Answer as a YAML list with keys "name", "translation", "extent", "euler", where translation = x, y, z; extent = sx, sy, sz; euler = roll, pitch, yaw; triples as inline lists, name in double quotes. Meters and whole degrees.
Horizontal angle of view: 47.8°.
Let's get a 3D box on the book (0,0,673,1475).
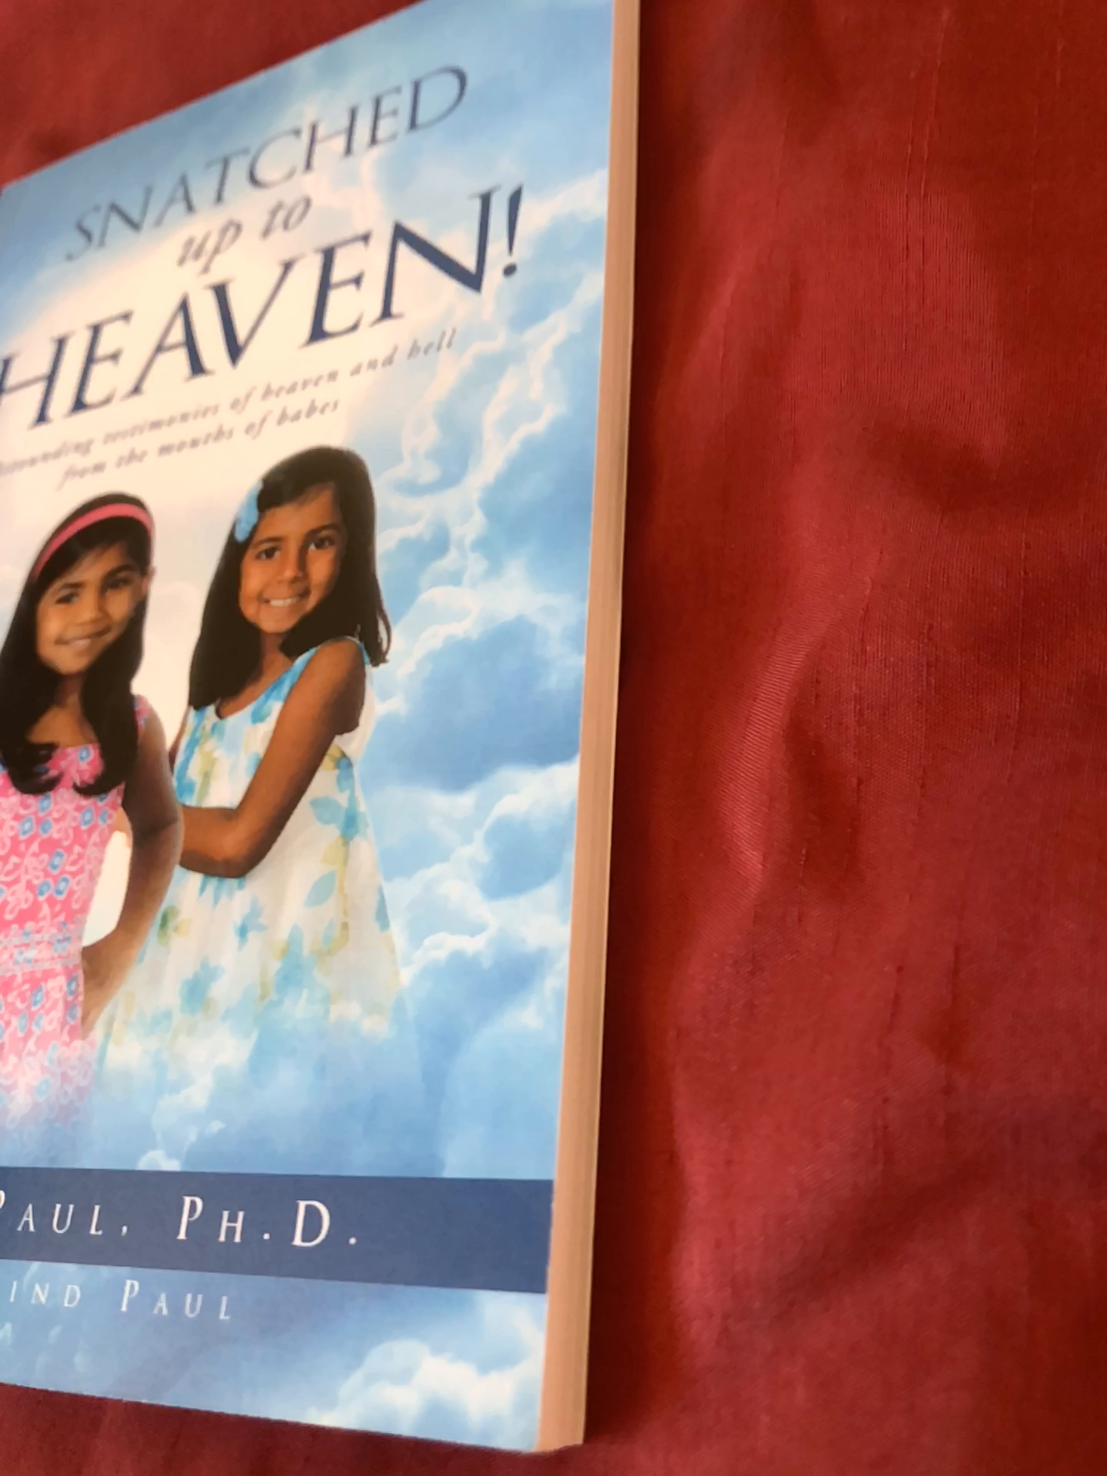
- name: "book"
  translation: [-0.053, -0.020, 0.189]
  extent: [0.140, 0.020, 0.212]
  euler: [-8, 64, 26]
